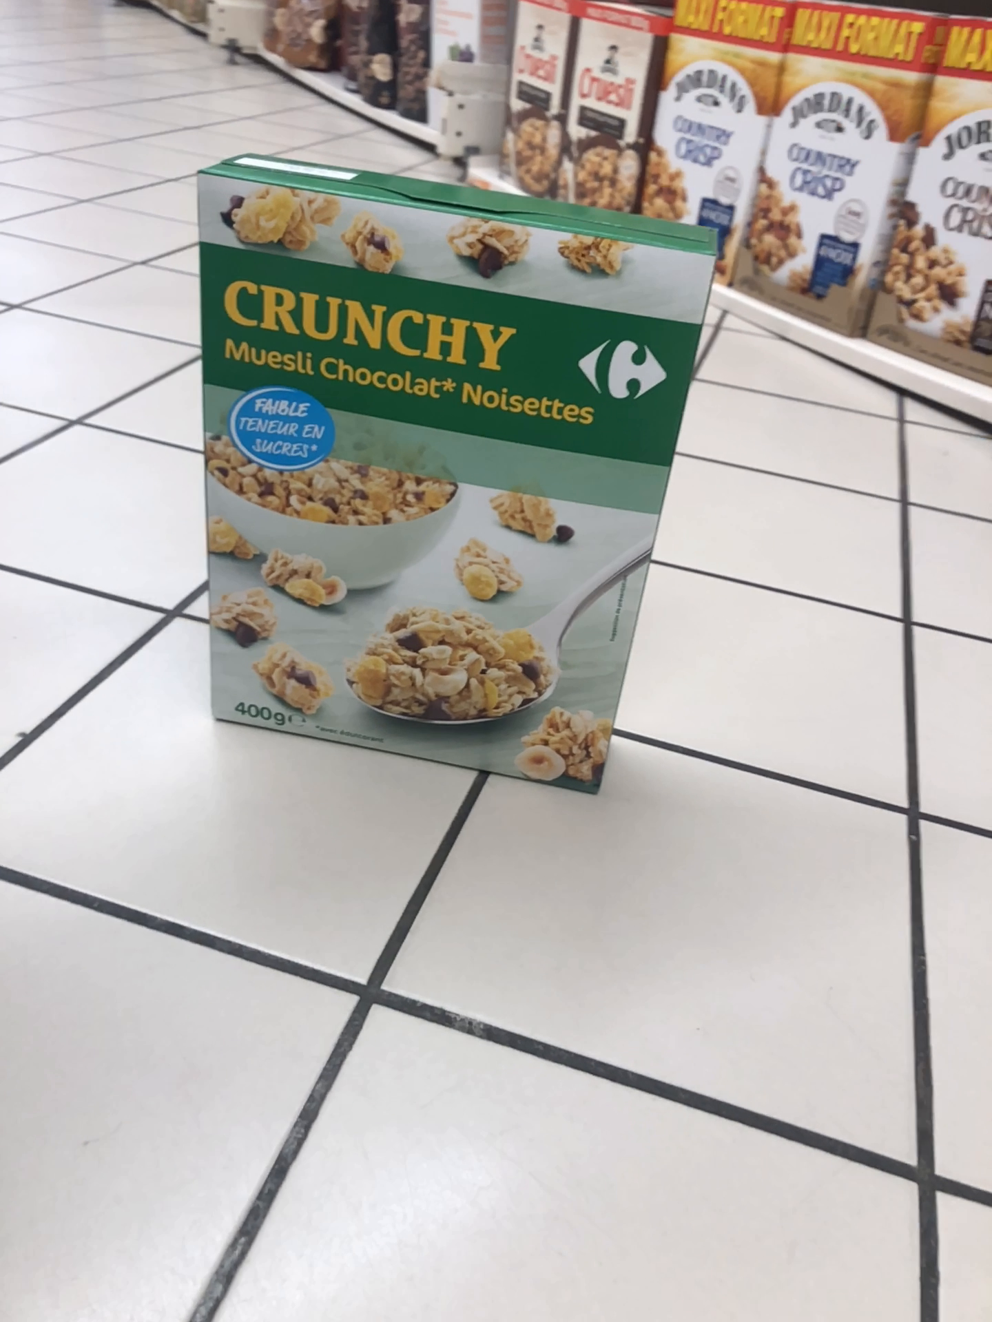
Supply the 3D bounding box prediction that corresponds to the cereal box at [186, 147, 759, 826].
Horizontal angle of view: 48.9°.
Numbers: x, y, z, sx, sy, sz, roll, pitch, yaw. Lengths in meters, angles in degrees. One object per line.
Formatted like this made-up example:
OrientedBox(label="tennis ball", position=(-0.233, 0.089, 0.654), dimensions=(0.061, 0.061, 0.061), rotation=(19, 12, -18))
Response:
OrientedBox(label="cereal box", position=(-0.019, -0.064, 0.463), dimensions=(0.200, 0.248, 0.060), rotation=(11, 32, 5))
